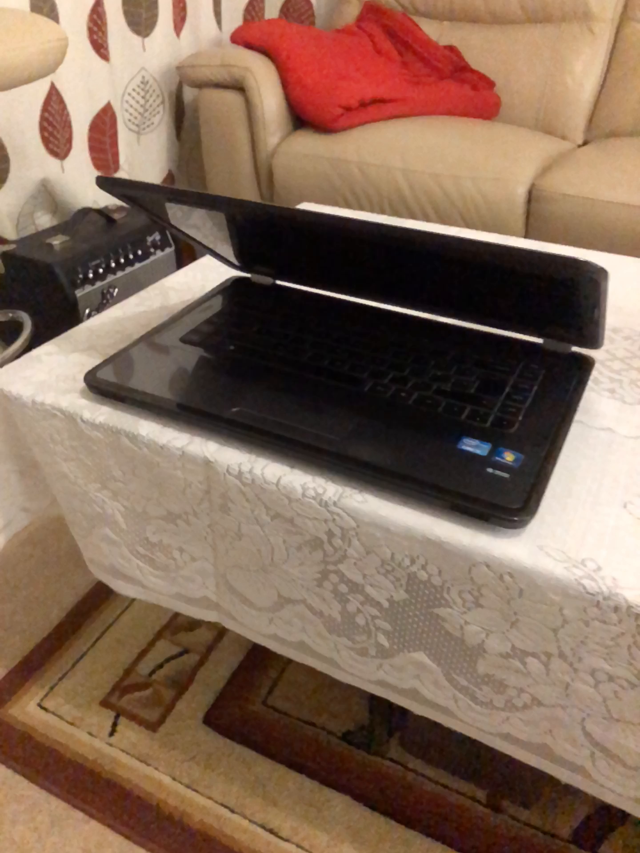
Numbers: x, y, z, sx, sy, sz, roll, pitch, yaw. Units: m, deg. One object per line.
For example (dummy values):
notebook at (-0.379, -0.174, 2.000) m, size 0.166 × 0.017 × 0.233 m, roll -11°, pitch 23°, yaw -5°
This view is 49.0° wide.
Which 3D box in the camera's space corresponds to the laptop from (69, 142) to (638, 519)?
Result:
laptop at (0.030, -0.109, 0.561) m, size 0.360 × 0.139 × 0.238 m, roll 17°, pitch 38°, yaw 23°
